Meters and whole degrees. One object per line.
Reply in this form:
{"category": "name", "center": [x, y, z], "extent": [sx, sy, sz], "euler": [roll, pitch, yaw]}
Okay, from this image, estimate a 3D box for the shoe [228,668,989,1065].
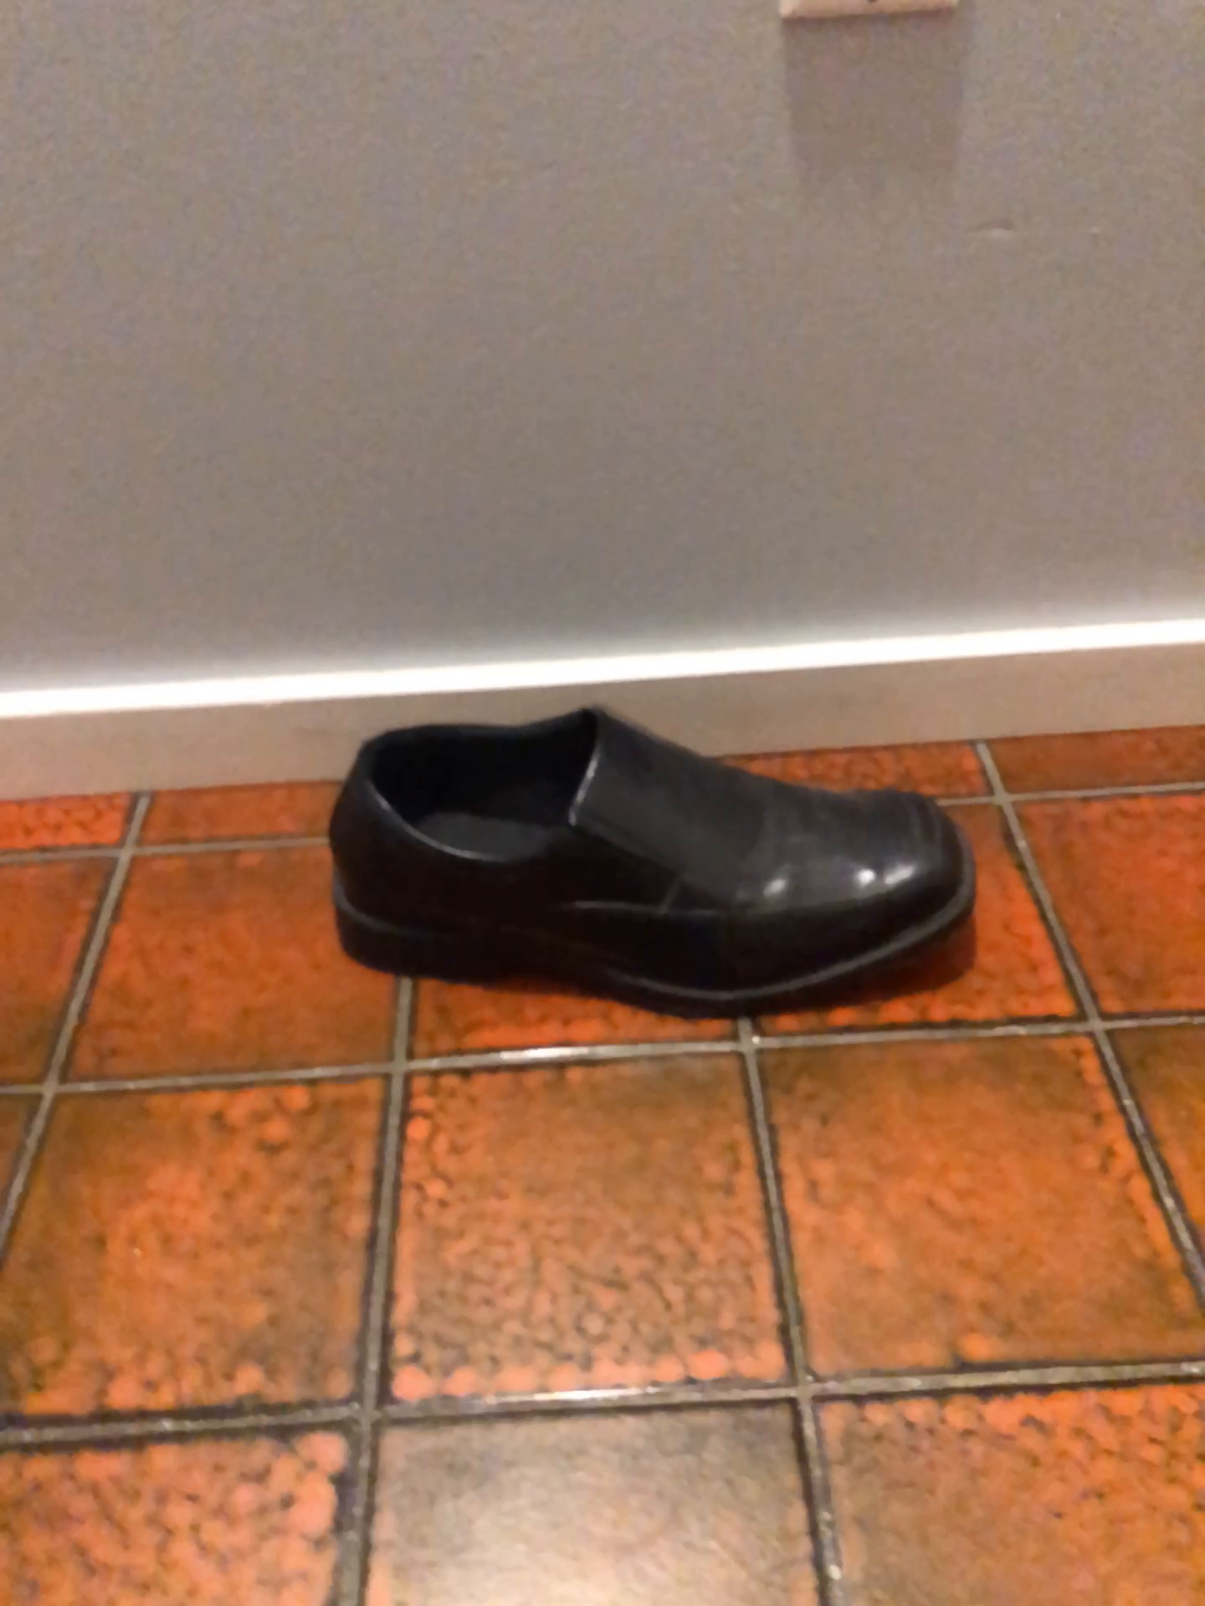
{"category": "shoe", "center": [0.007, 0.023, 0.599], "extent": [0.300, 0.100, 0.120], "euler": [4, 41, 8]}
